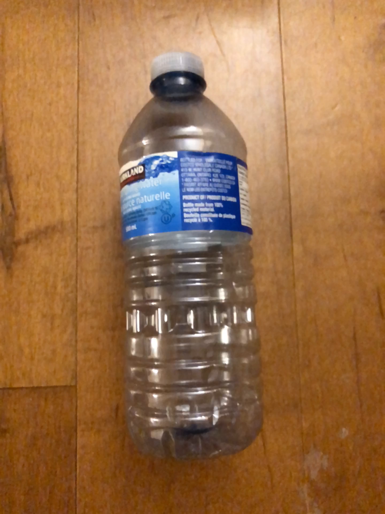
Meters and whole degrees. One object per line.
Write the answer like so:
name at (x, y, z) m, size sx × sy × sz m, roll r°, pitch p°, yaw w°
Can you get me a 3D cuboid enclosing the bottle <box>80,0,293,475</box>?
bottle at (-0.006, -0.012, 0.222) m, size 0.070 × 0.070 × 0.200 m, roll 6°, pitch 78°, yaw -46°
